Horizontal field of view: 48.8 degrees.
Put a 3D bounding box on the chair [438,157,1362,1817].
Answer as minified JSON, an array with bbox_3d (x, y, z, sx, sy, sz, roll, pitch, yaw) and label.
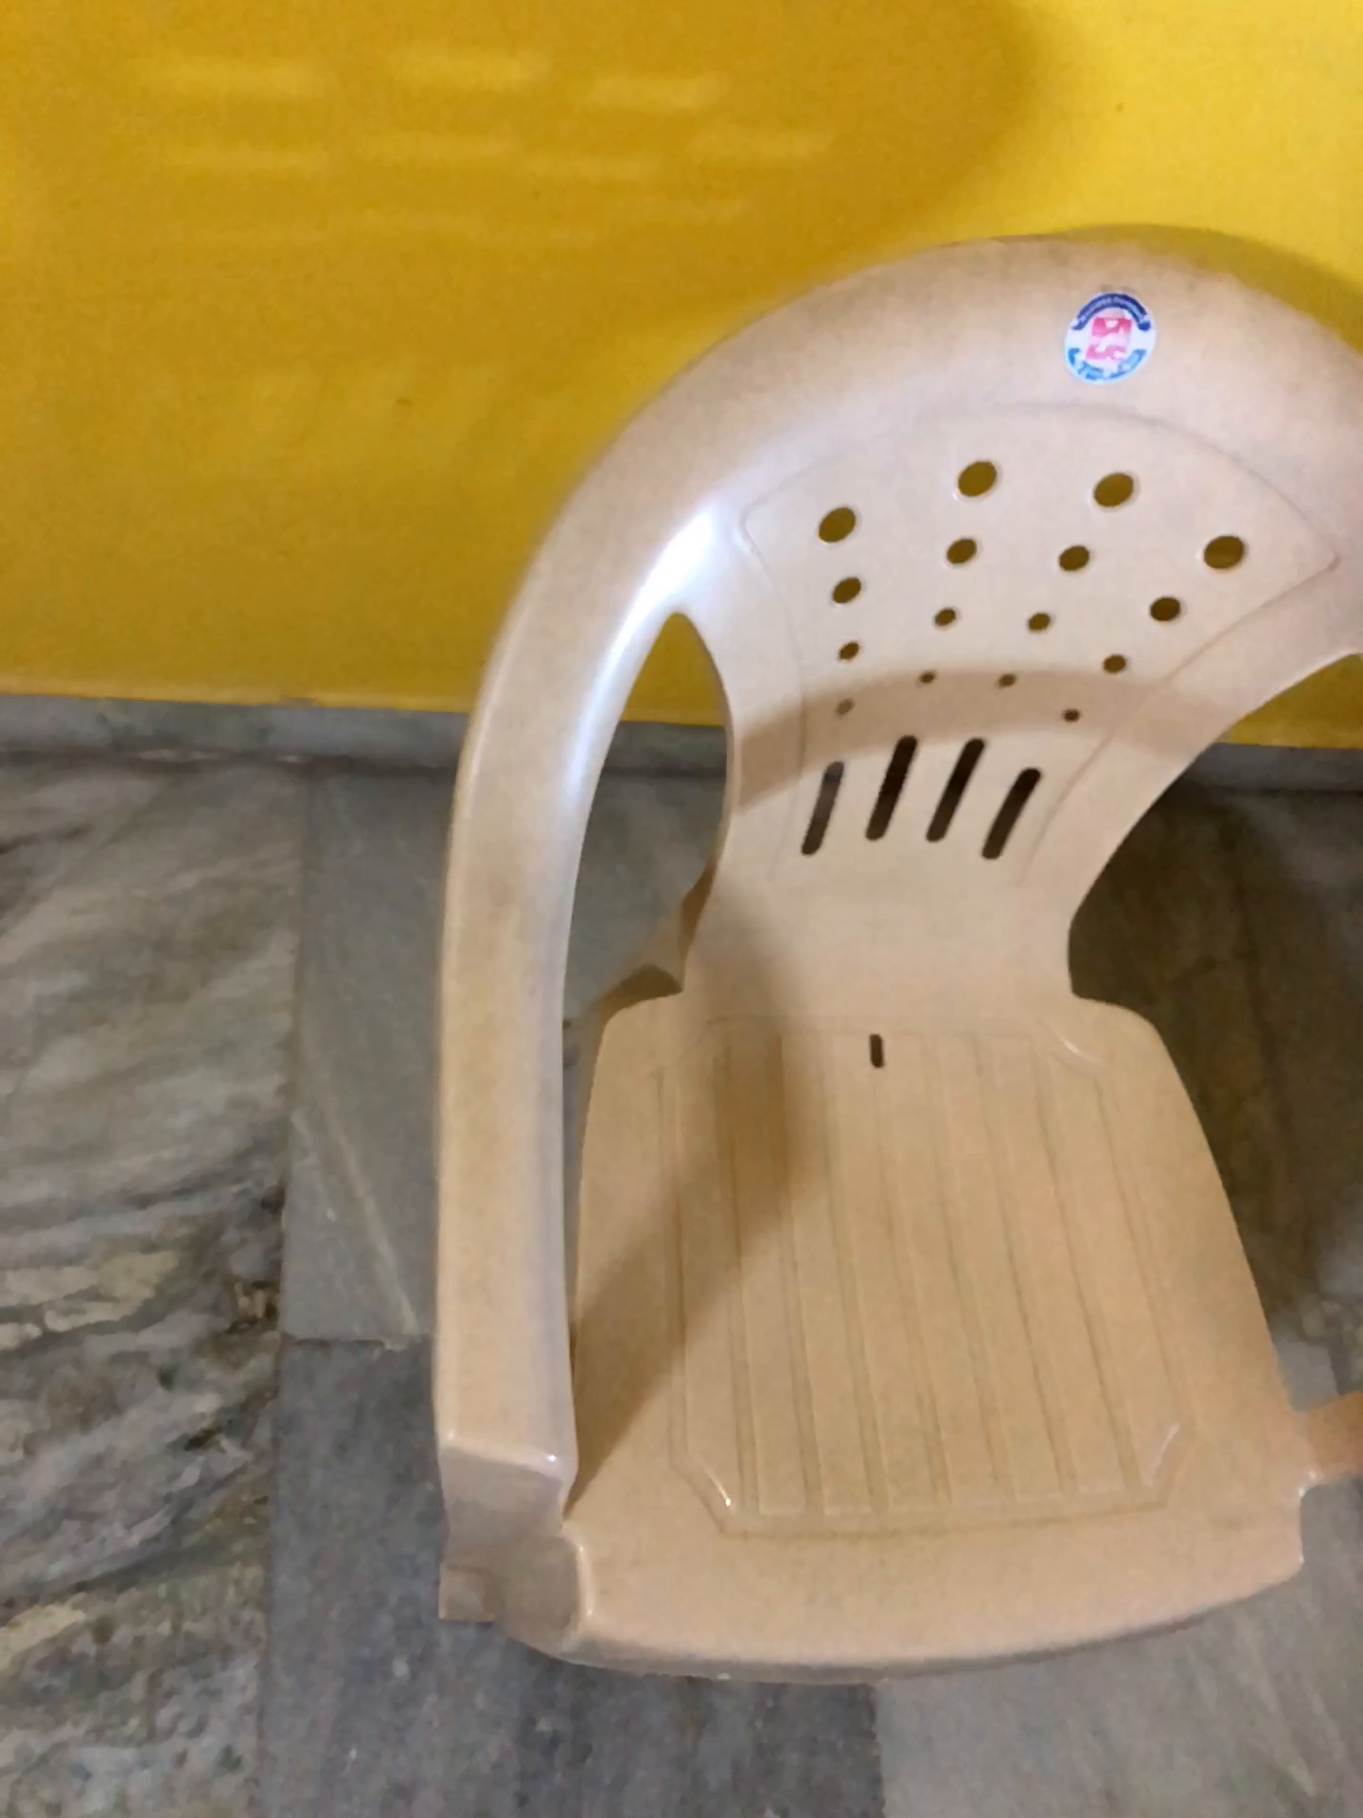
[{"bbox_3d":[0.146,0.137,0.853,0.531,0.786,0.562,1,68,-12],"label":"chair"}]
